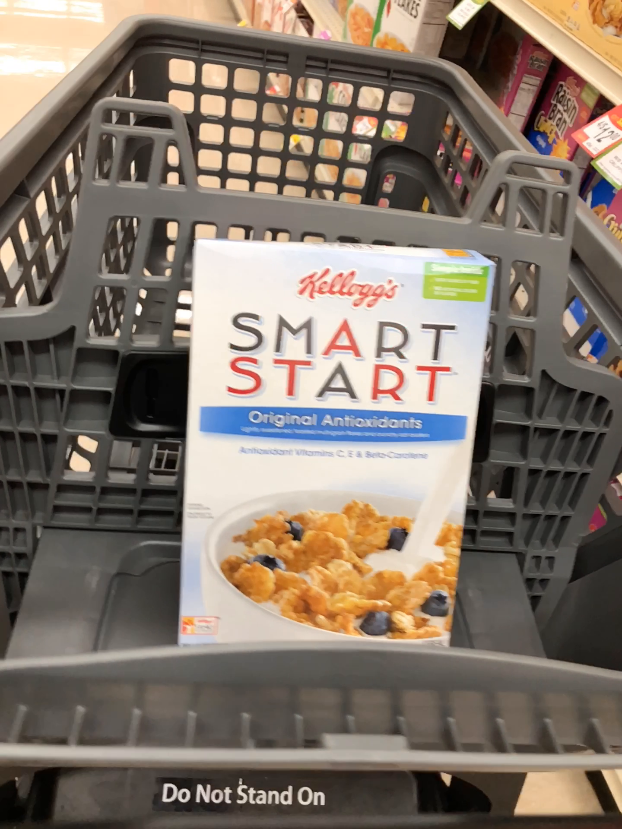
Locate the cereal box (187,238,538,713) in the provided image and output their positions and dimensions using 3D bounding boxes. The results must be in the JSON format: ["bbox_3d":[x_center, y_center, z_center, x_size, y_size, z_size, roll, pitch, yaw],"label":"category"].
[{"bbox_3d":[0.023,0.043,0.466,0.200,0.300,0.070,2,13,-10],"label":"cereal box"}]
